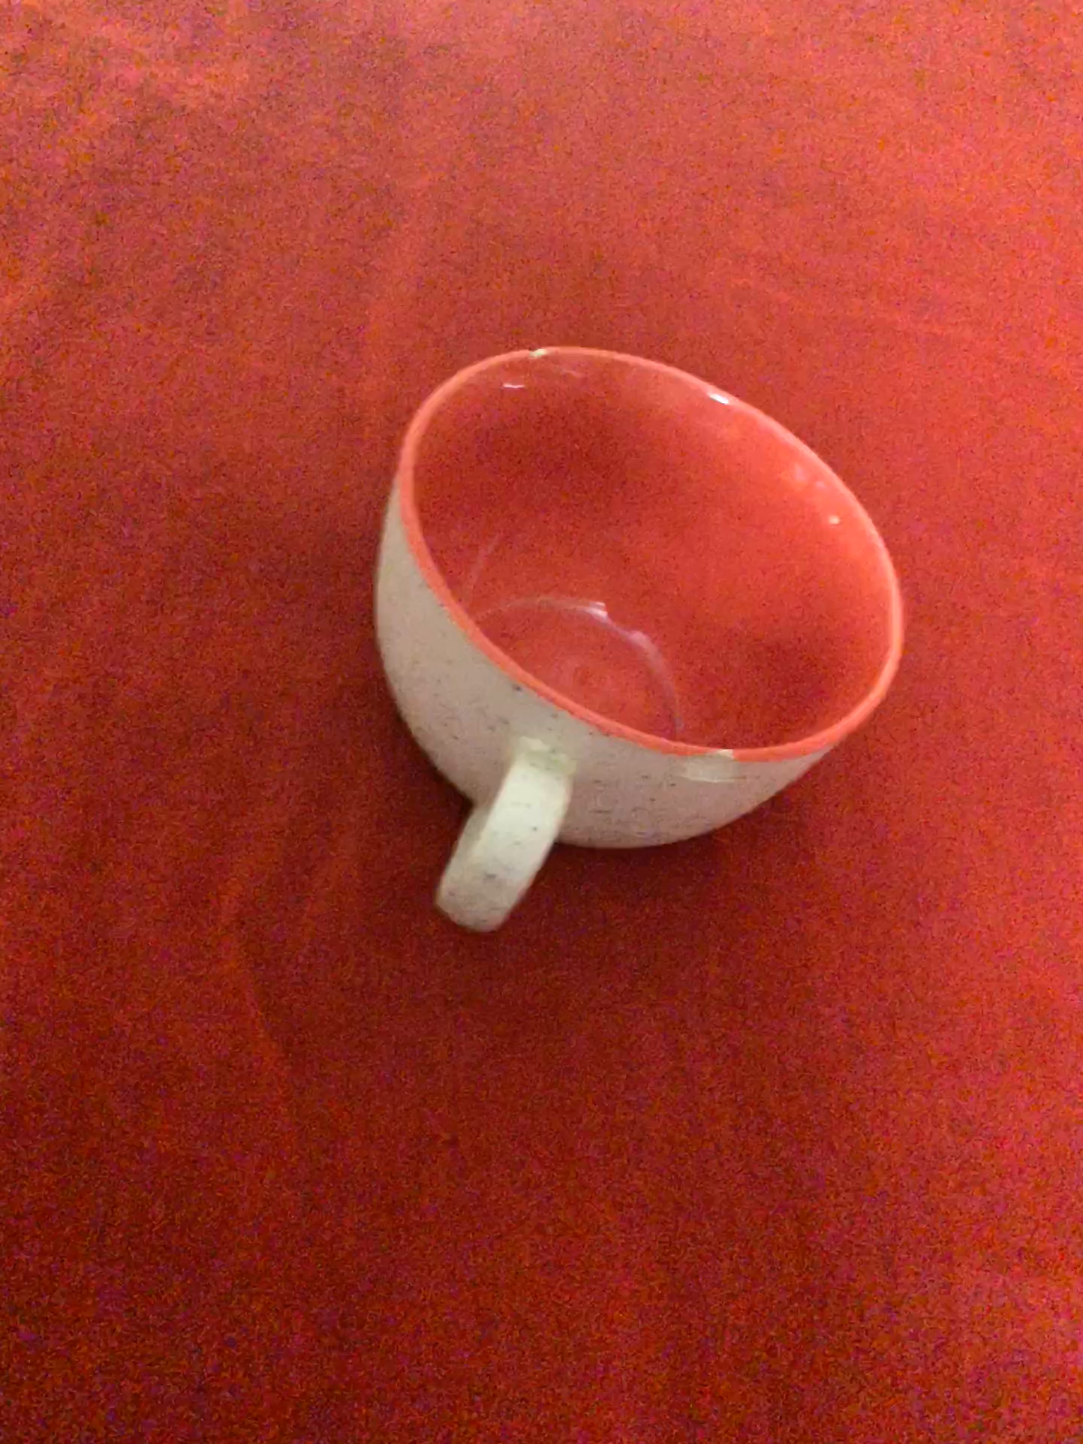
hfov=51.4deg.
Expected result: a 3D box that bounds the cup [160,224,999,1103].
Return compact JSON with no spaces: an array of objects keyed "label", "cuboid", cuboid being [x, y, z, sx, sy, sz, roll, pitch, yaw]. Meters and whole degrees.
[{"label":"cup","cuboid":[0.014,-0.019,0.250,0.130,0.070,0.141,8,56,-13]}]
